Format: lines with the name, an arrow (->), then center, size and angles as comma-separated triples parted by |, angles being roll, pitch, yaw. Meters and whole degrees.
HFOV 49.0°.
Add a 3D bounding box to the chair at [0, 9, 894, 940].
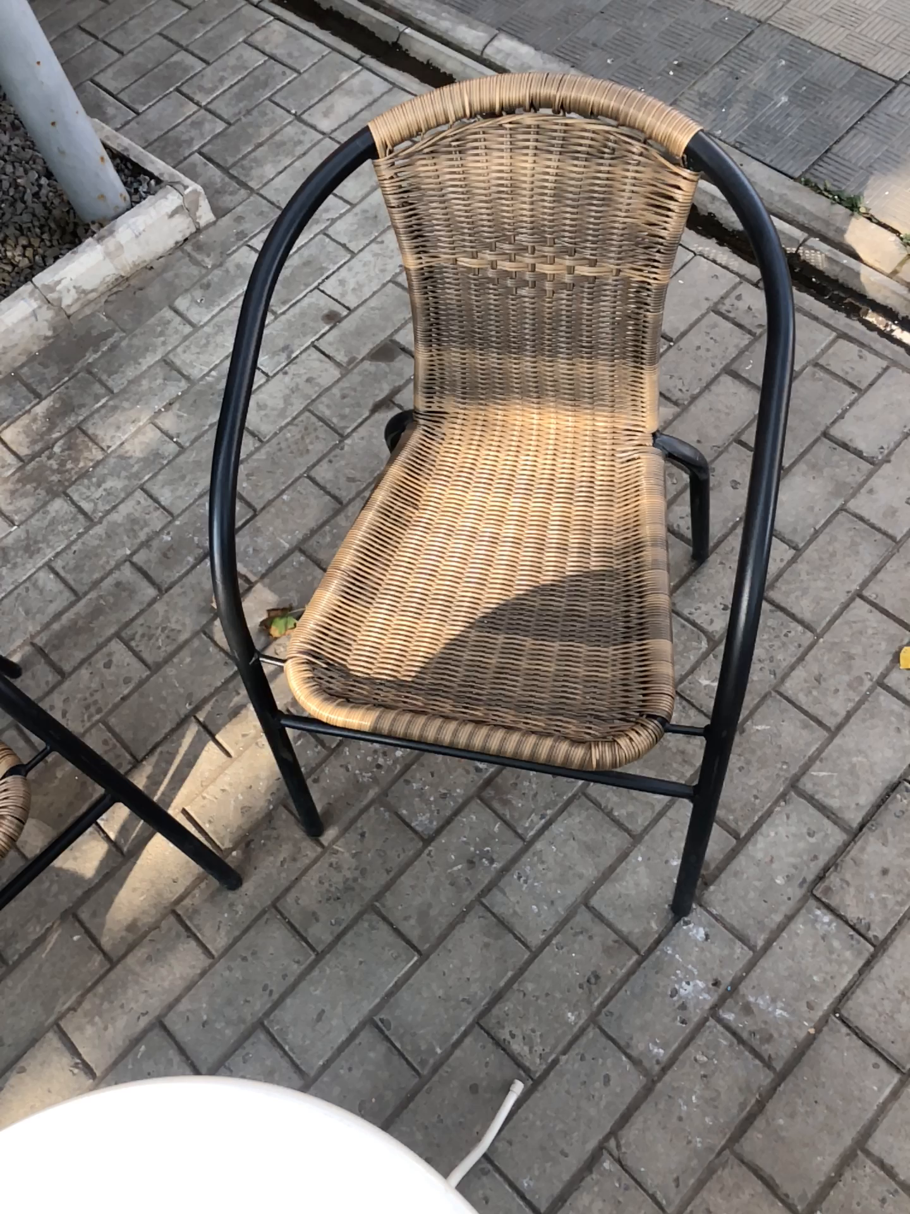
chair -> 0.055, -0.086, 1.005 | 0.540, 0.669, 0.591 | 9, 64, 13
